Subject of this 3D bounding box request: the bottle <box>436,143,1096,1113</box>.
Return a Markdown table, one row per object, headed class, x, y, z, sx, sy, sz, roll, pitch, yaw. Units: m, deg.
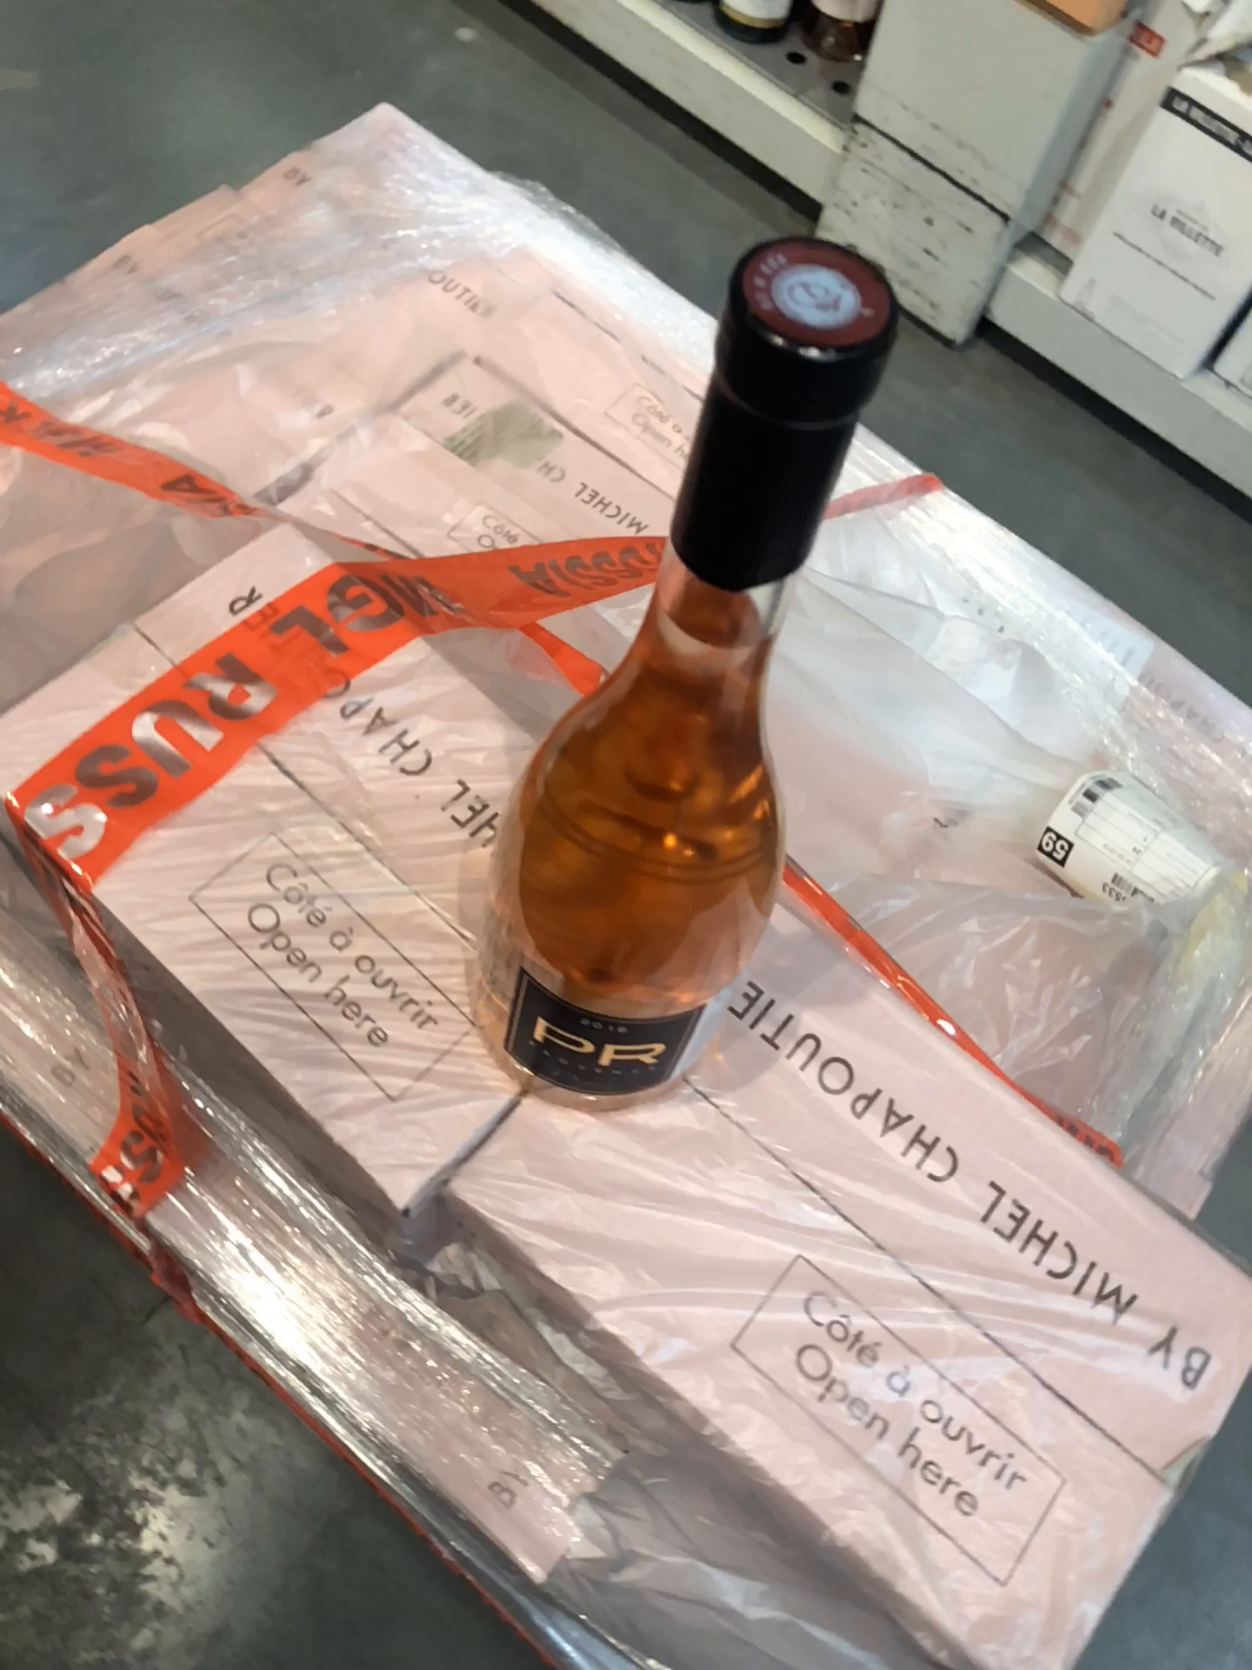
| class | x | y | z | sx | sy | sz | roll | pitch | yaw |
| --- | --- | --- | --- | --- | --- | --- | --- | --- | --- |
| bottle | 0.008 | -0.017 | 0.361 | 0.100 | 0.279 | 0.097 | 4 | 62 | -7 |
